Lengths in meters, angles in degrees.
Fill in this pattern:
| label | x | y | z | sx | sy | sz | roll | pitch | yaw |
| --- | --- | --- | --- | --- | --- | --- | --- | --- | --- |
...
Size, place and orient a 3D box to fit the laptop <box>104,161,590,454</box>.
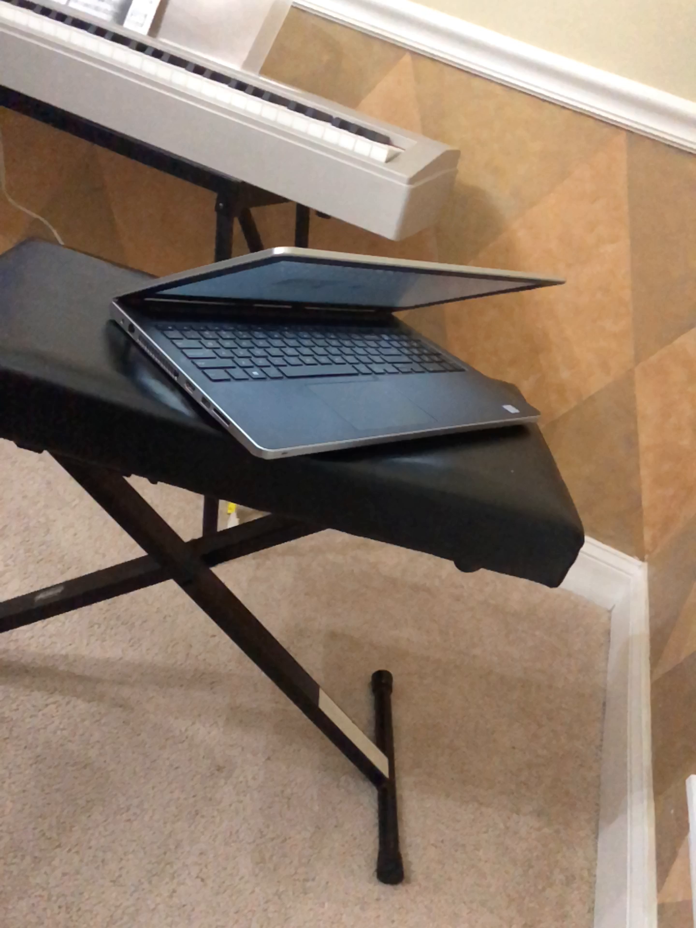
| label | x | y | z | sx | sy | sz | roll | pitch | yaw |
| --- | --- | --- | --- | --- | --- | --- | --- | --- | --- |
| laptop | 0.008 | -0.157 | 0.747 | 0.377 | 0.132 | 0.256 | -10 | 41 | -43 |
